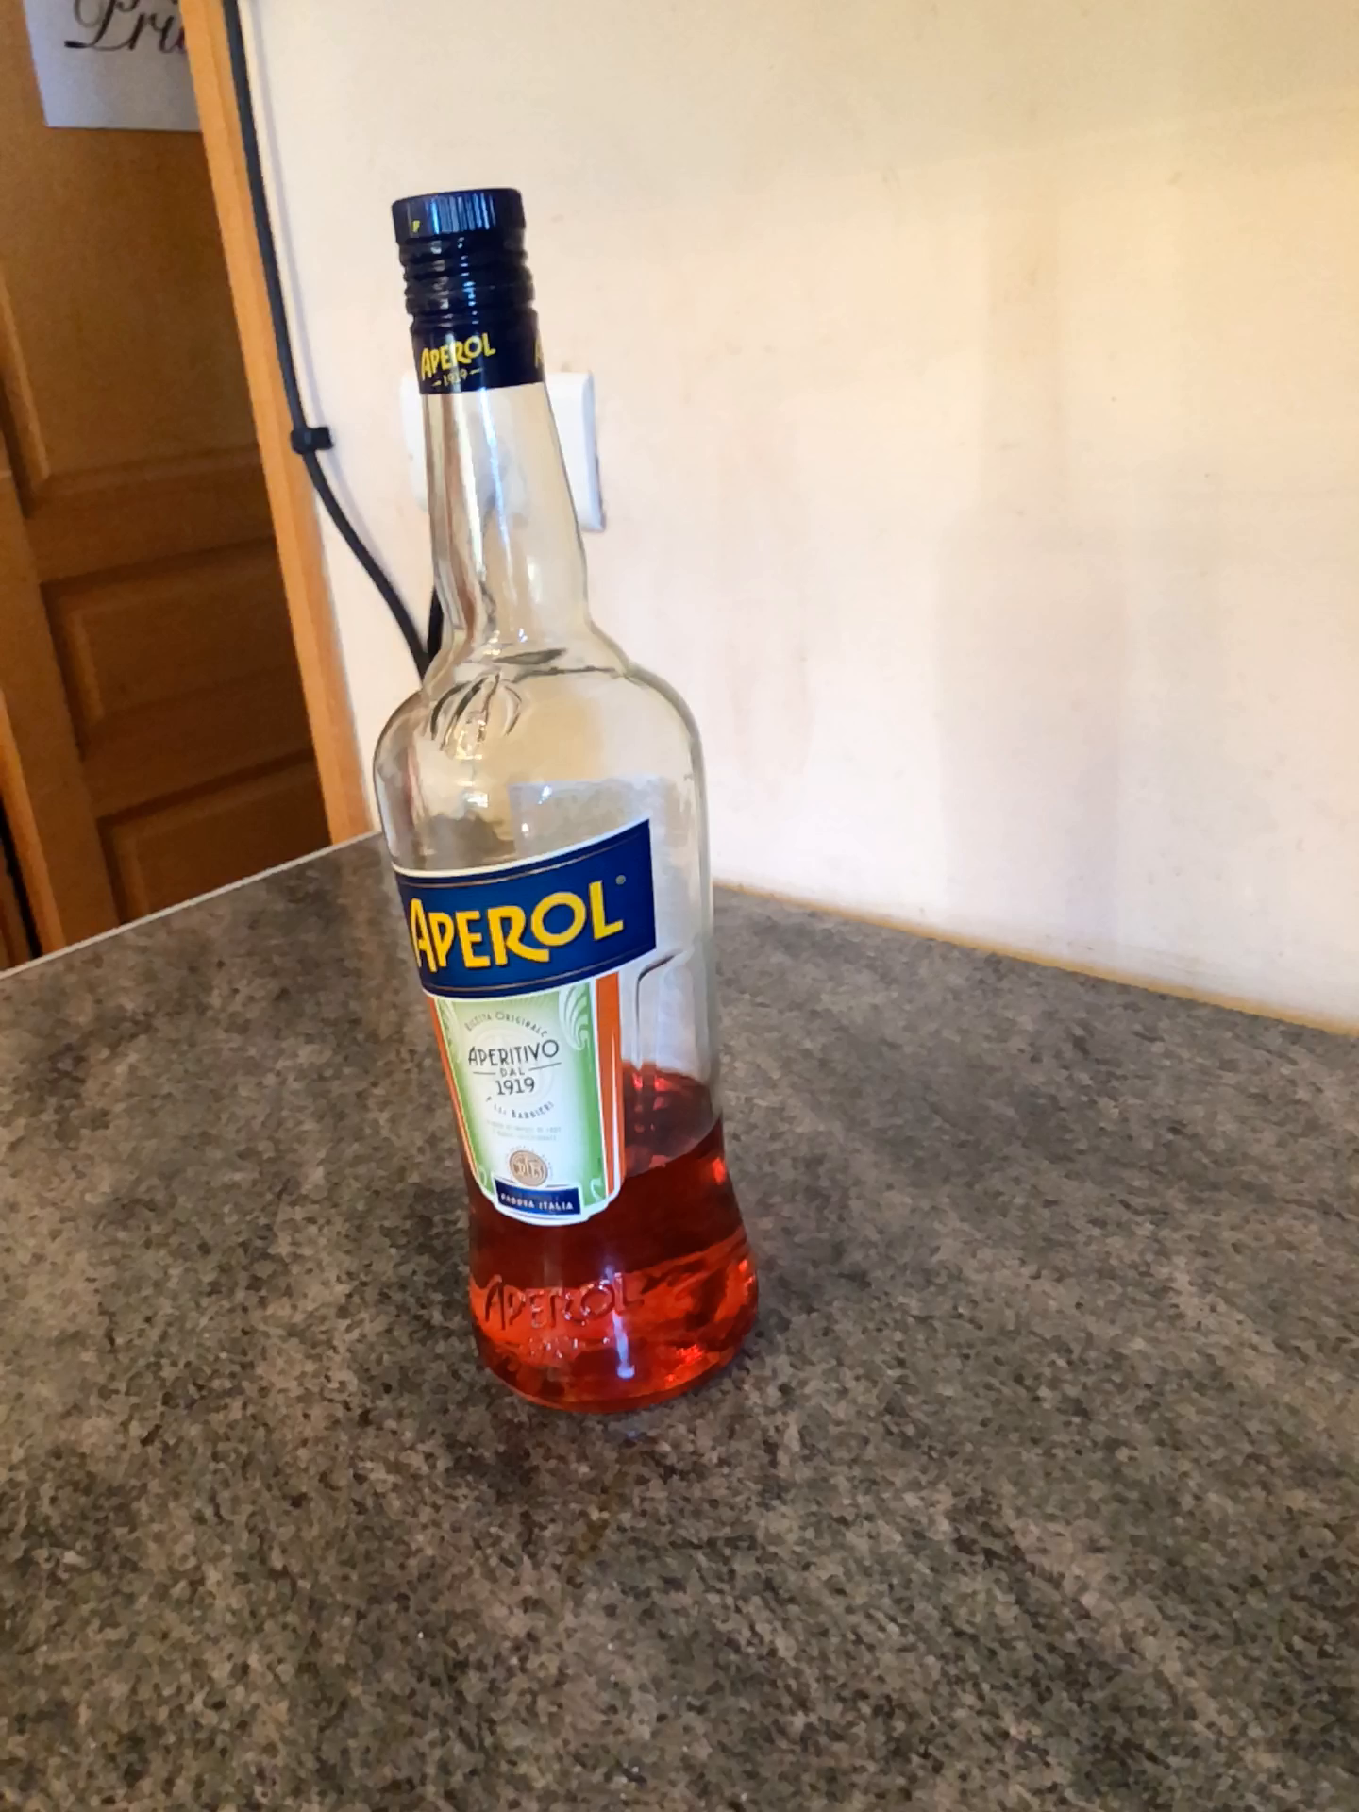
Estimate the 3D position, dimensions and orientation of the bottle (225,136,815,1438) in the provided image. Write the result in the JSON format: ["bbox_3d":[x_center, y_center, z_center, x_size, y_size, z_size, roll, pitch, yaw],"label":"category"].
[{"bbox_3d":[-0.028,-0.023,0.416,0.090,0.328,0.091,-5,21,2],"label":"bottle"}]
